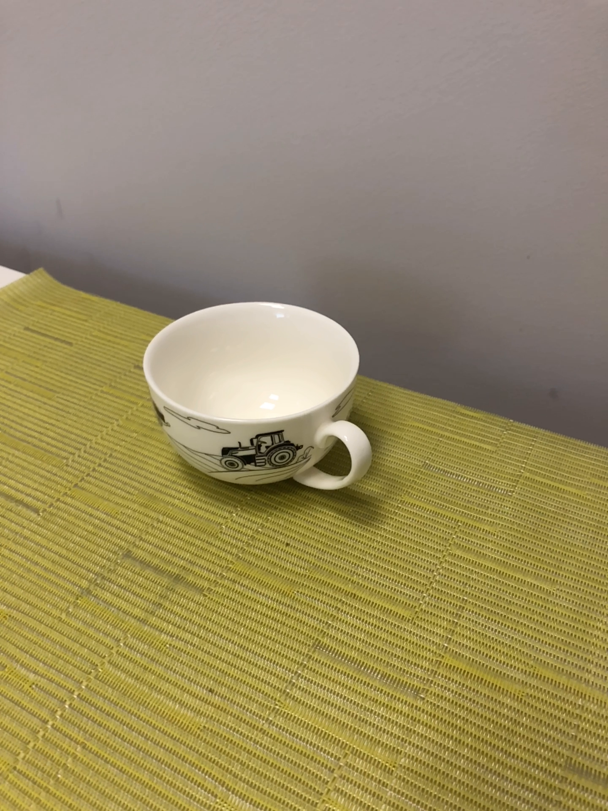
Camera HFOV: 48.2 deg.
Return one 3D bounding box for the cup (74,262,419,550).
[{"bbox_3d":[-0.025,-0.009,0.295,0.114,0.051,0.089,29,44,33],"label":"cup"}]
